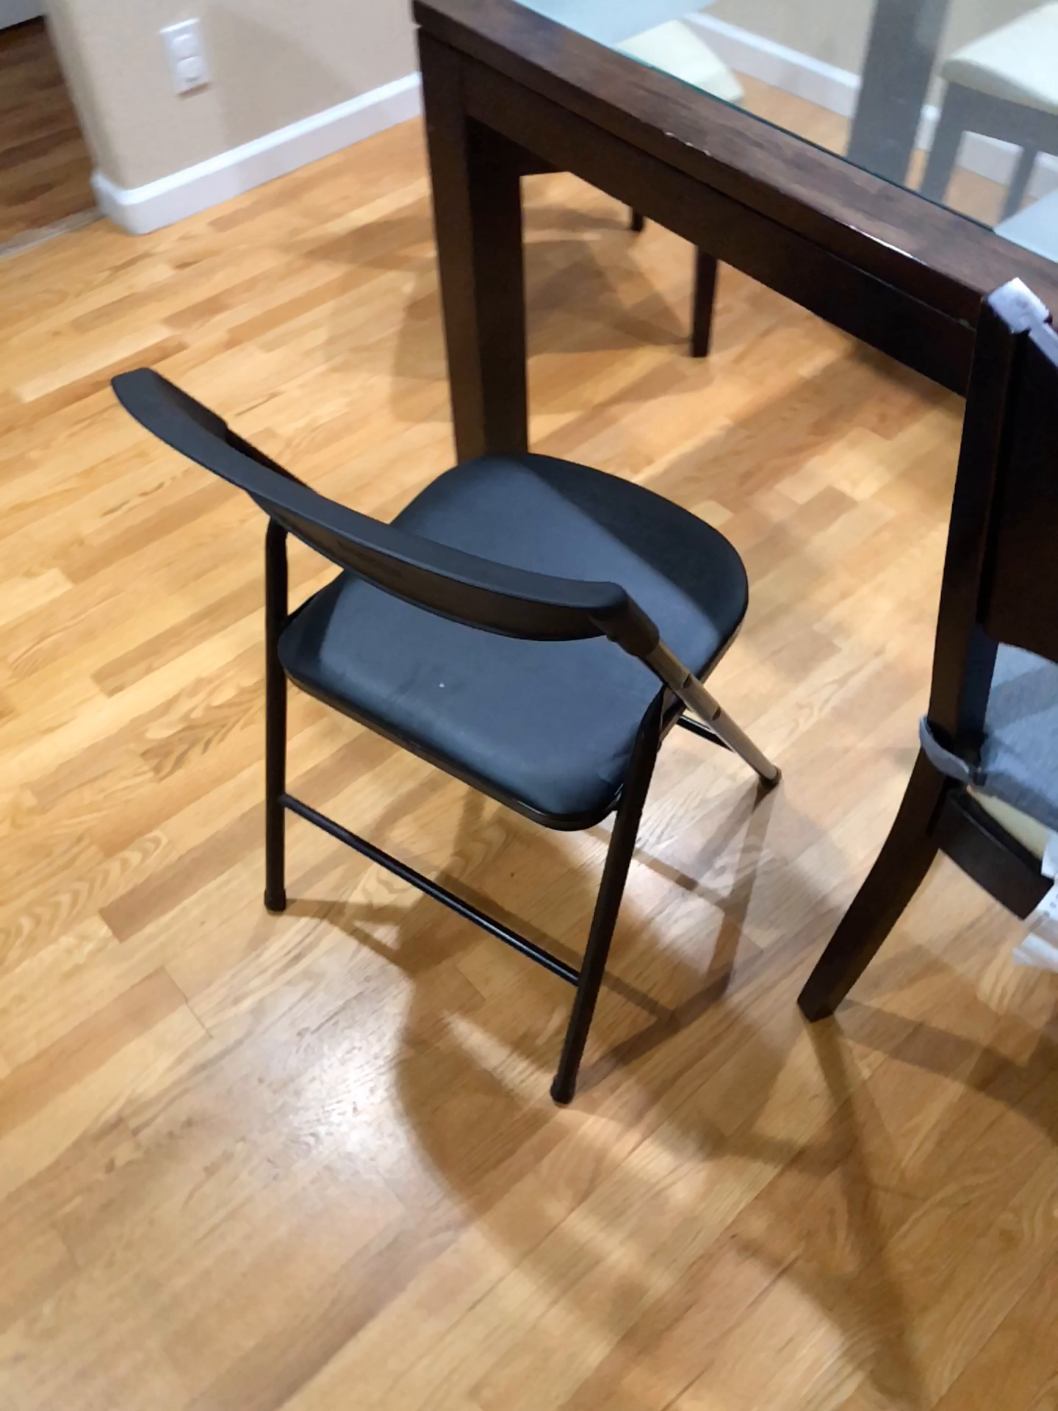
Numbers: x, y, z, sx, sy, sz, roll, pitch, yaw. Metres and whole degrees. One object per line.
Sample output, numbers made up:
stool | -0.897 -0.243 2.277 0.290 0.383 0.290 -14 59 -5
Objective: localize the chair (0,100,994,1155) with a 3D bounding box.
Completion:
chair | -0.008 -0.053 1.108 0.521 0.697 0.522 29 58 22
